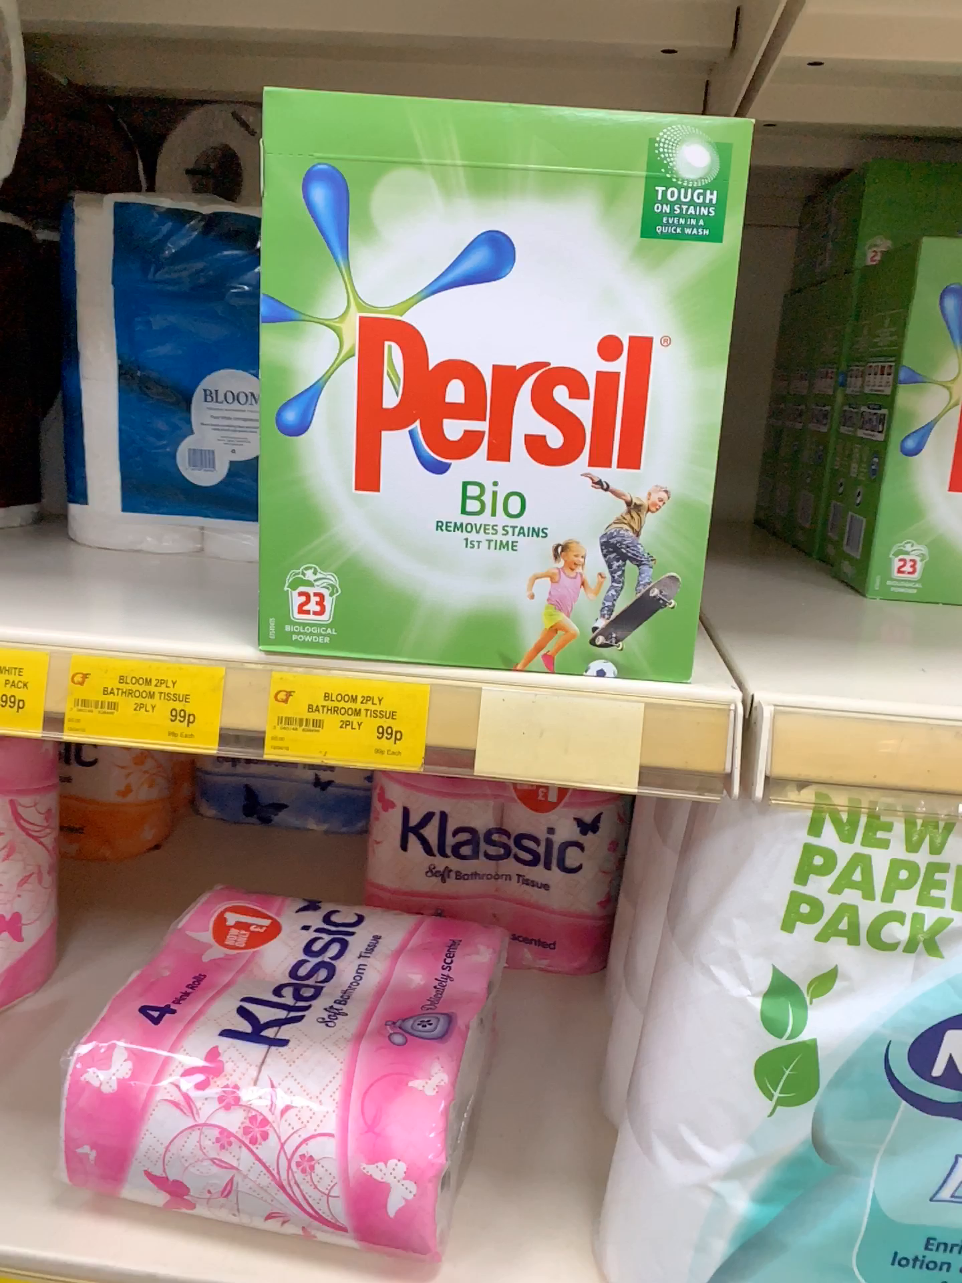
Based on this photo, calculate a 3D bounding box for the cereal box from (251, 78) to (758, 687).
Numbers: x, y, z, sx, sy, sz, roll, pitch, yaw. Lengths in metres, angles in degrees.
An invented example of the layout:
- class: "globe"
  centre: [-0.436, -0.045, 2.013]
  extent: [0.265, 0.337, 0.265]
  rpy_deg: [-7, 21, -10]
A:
- class: "cereal box"
  centre: [0.005, -0.114, 0.463]
  extent: [0.200, 0.239, 0.090]
  rpy_deg: [4, 13, 2]
